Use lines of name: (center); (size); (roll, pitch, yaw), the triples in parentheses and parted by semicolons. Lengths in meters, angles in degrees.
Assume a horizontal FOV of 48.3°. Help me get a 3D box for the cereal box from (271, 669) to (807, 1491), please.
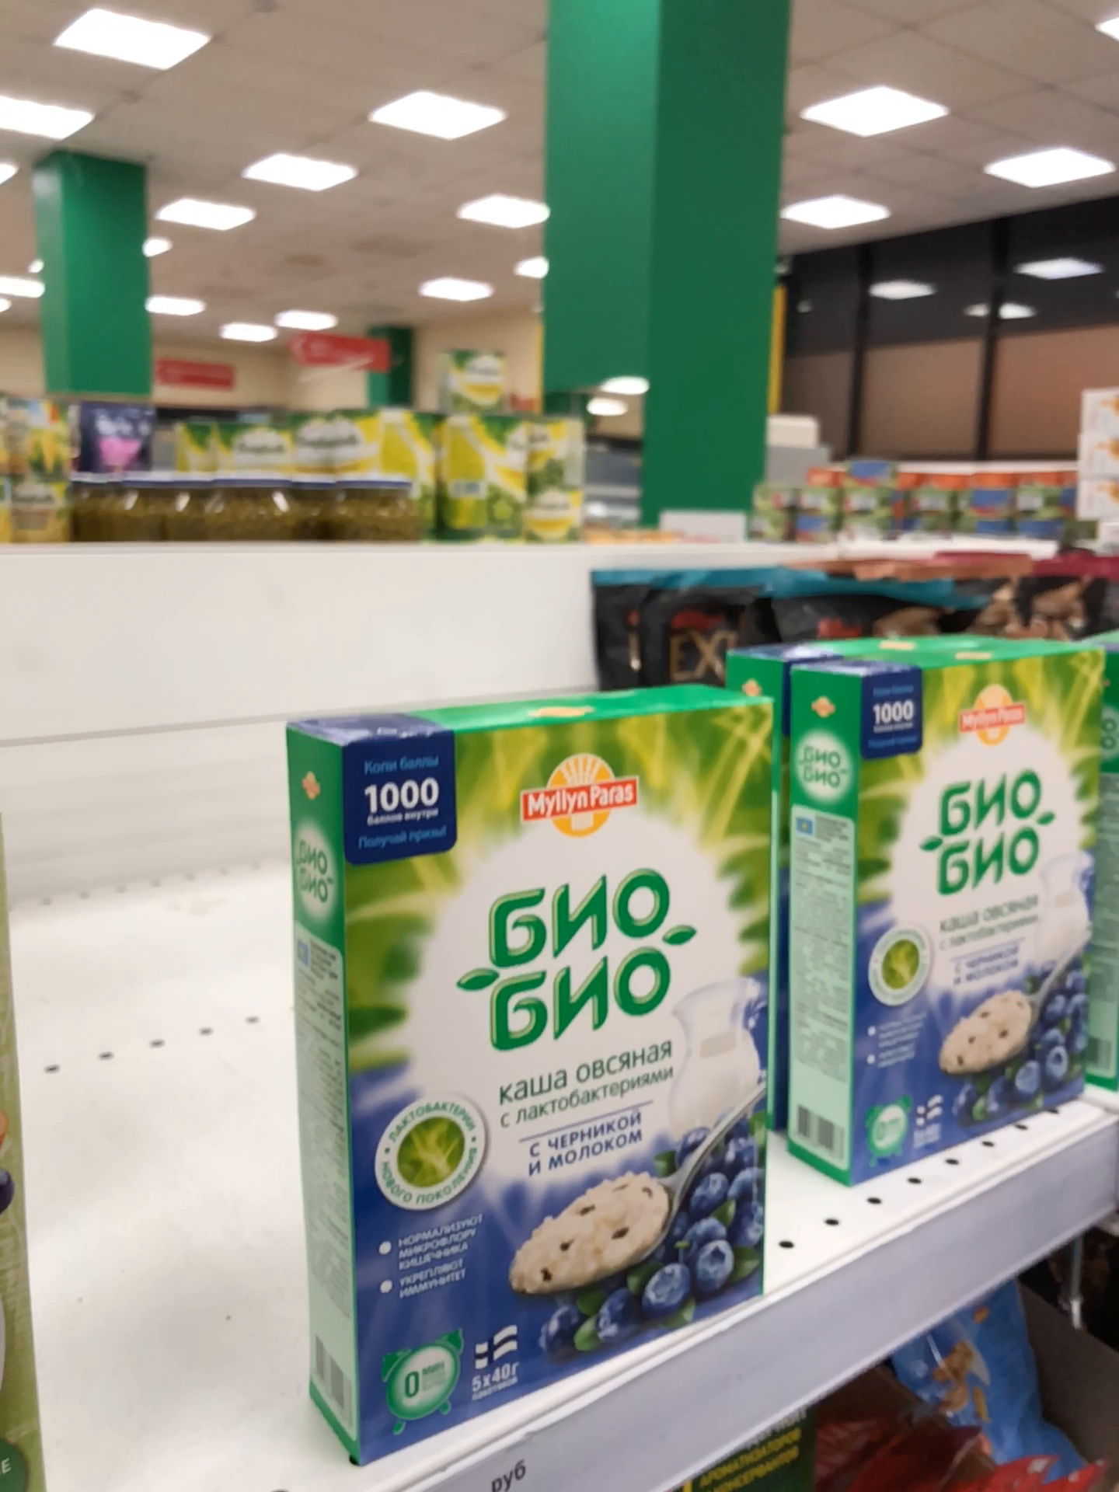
cereal box: (0.000, 0.087, 0.380); (0.160, 0.210, 0.040); (-6, 10, -33)
